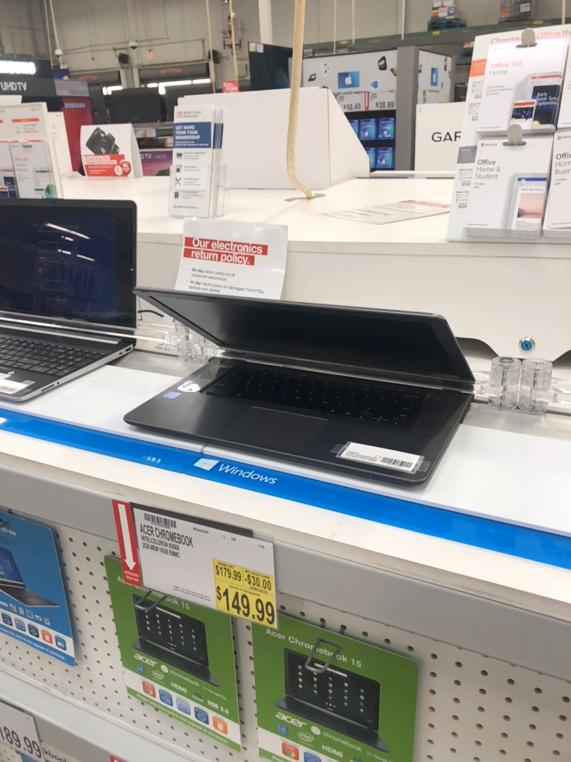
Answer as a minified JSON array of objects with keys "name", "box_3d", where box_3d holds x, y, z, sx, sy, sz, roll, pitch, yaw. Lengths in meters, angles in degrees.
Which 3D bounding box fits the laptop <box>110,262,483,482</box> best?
[{"name":"laptop","box_3d":[0.016,-0.036,0.734,0.365,0.136,0.220,9,27,28]}]
